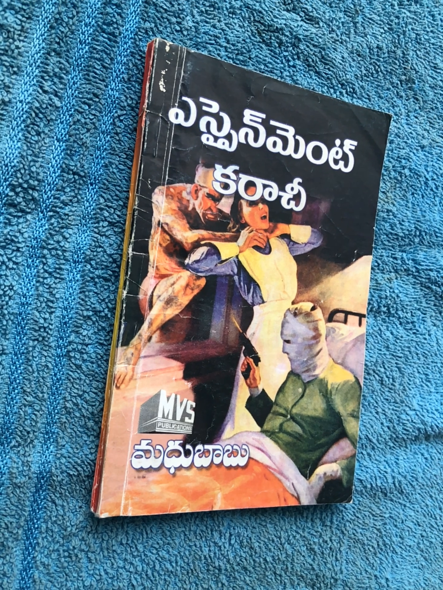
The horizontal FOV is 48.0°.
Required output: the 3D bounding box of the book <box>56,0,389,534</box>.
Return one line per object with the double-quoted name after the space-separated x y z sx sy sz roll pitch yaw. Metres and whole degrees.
0.006 -0.006 0.187 0.110 0.020 0.170 7 87 -25 "book"
